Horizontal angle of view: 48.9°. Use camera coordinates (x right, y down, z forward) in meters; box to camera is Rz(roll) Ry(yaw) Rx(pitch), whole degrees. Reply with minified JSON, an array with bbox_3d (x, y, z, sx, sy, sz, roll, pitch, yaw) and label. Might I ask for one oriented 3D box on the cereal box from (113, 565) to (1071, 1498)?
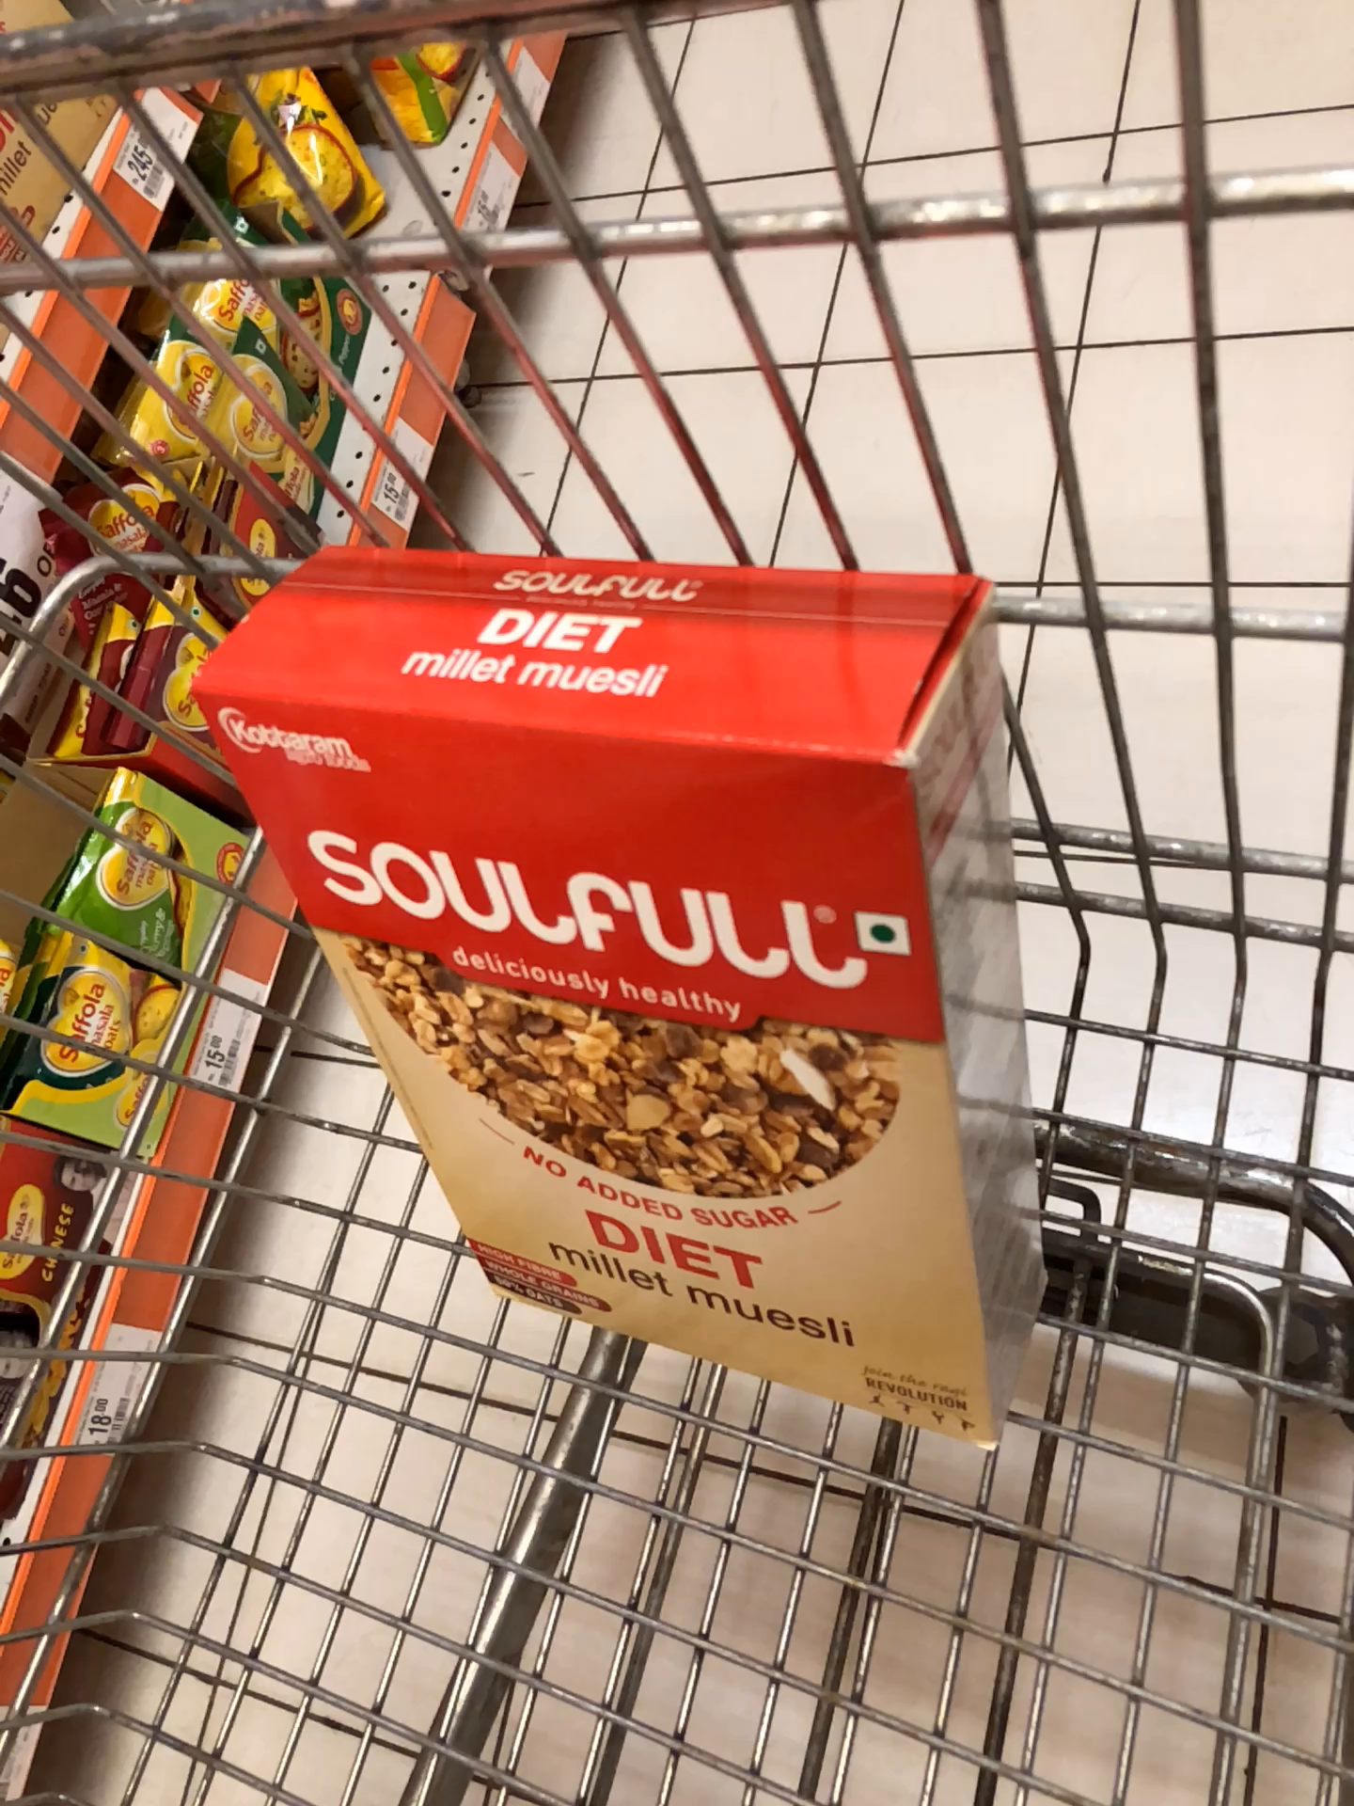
[{"bbox_3d":[0.000,0.042,0.362,0.170,0.249,0.050,10,51,26],"label":"cereal box"}]
